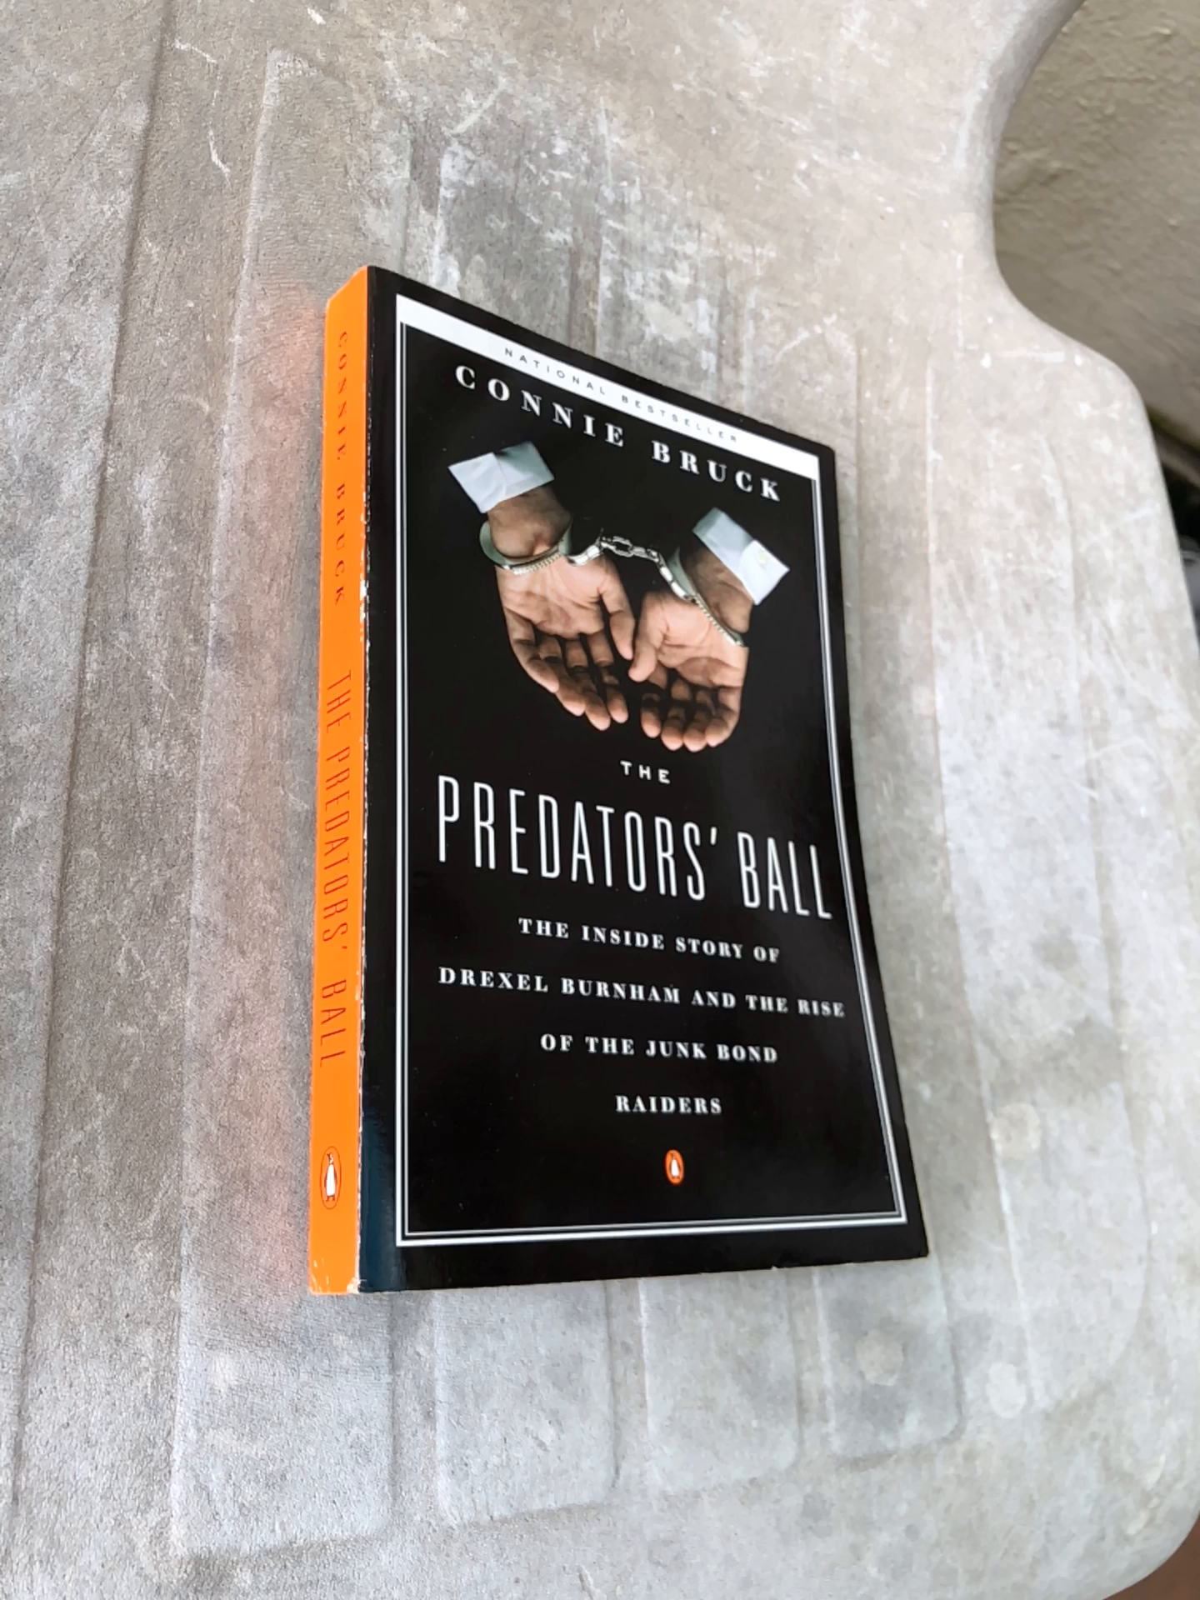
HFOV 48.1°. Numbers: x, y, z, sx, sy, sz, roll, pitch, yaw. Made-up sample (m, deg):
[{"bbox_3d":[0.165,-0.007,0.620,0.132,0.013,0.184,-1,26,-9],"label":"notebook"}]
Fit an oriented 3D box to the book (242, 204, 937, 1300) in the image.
[{"bbox_3d":[0.000,-0.008,0.291,0.141,0.030,0.210,10,68,-33],"label":"book"}]
